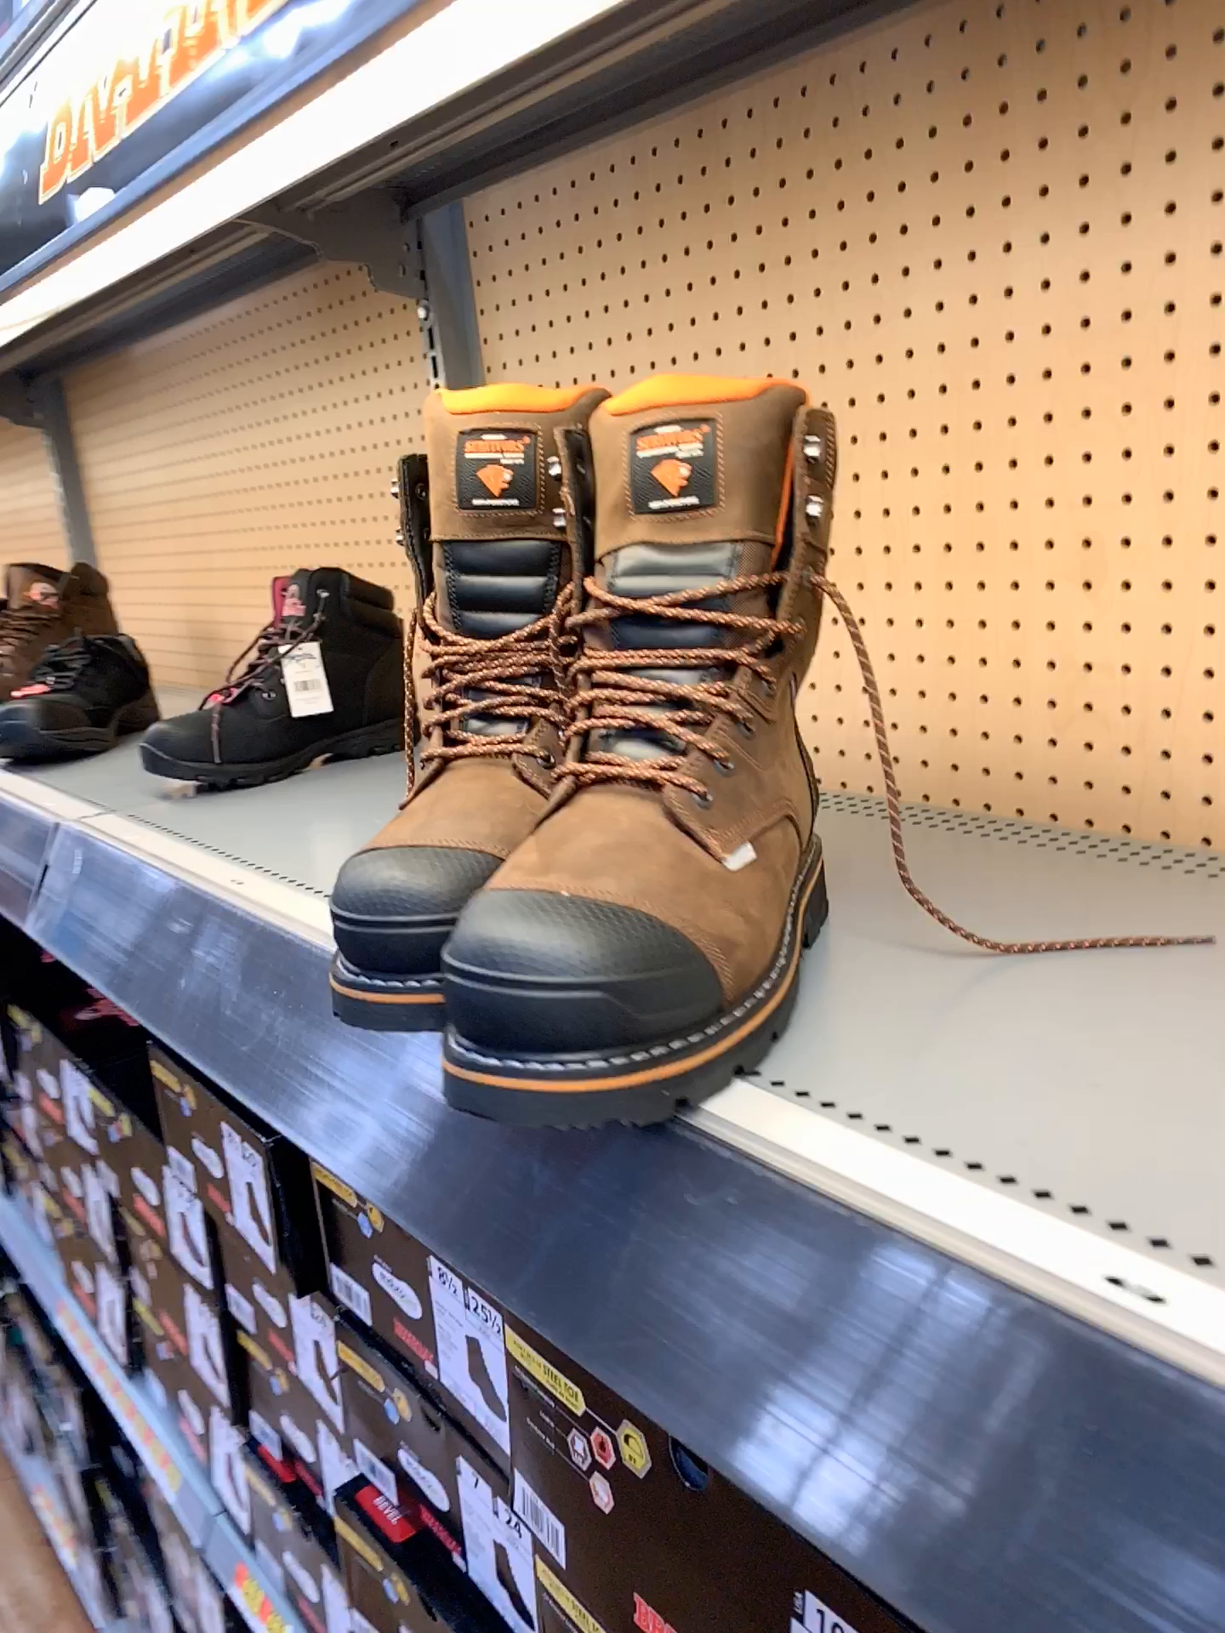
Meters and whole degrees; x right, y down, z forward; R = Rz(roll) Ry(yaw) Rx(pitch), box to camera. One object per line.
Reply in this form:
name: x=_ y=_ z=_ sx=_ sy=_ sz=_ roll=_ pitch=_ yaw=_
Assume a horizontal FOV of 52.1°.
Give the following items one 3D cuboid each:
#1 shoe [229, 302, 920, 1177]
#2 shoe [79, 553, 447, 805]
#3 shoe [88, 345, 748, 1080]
shoe: x=0.022 y=-0.058 z=0.530 sx=0.134 sy=0.259 sz=0.319 roll=1 pitch=17 yaw=26
shoe: x=-0.308 y=-0.134 z=1.125 sx=0.257 sy=0.170 sz=0.147 roll=-17 pitch=18 yaw=-35
shoe: x=-0.062 y=-0.075 z=0.633 sx=0.136 sy=0.279 sz=0.314 roll=2 pitch=17 yaw=28
